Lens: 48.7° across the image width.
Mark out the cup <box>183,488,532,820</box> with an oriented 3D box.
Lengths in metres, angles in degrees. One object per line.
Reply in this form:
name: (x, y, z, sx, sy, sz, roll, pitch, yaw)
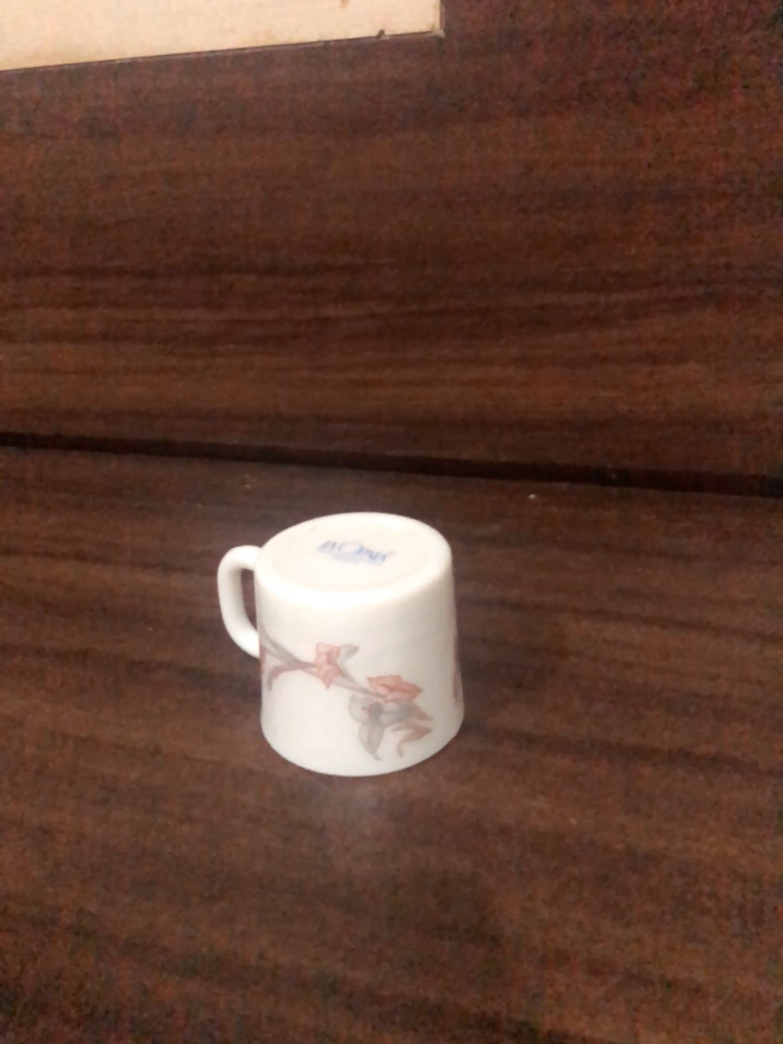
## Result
cup: (-0.007, 0.038, 0.283, 0.090, 0.070, 0.060, 8, 30, 25)
